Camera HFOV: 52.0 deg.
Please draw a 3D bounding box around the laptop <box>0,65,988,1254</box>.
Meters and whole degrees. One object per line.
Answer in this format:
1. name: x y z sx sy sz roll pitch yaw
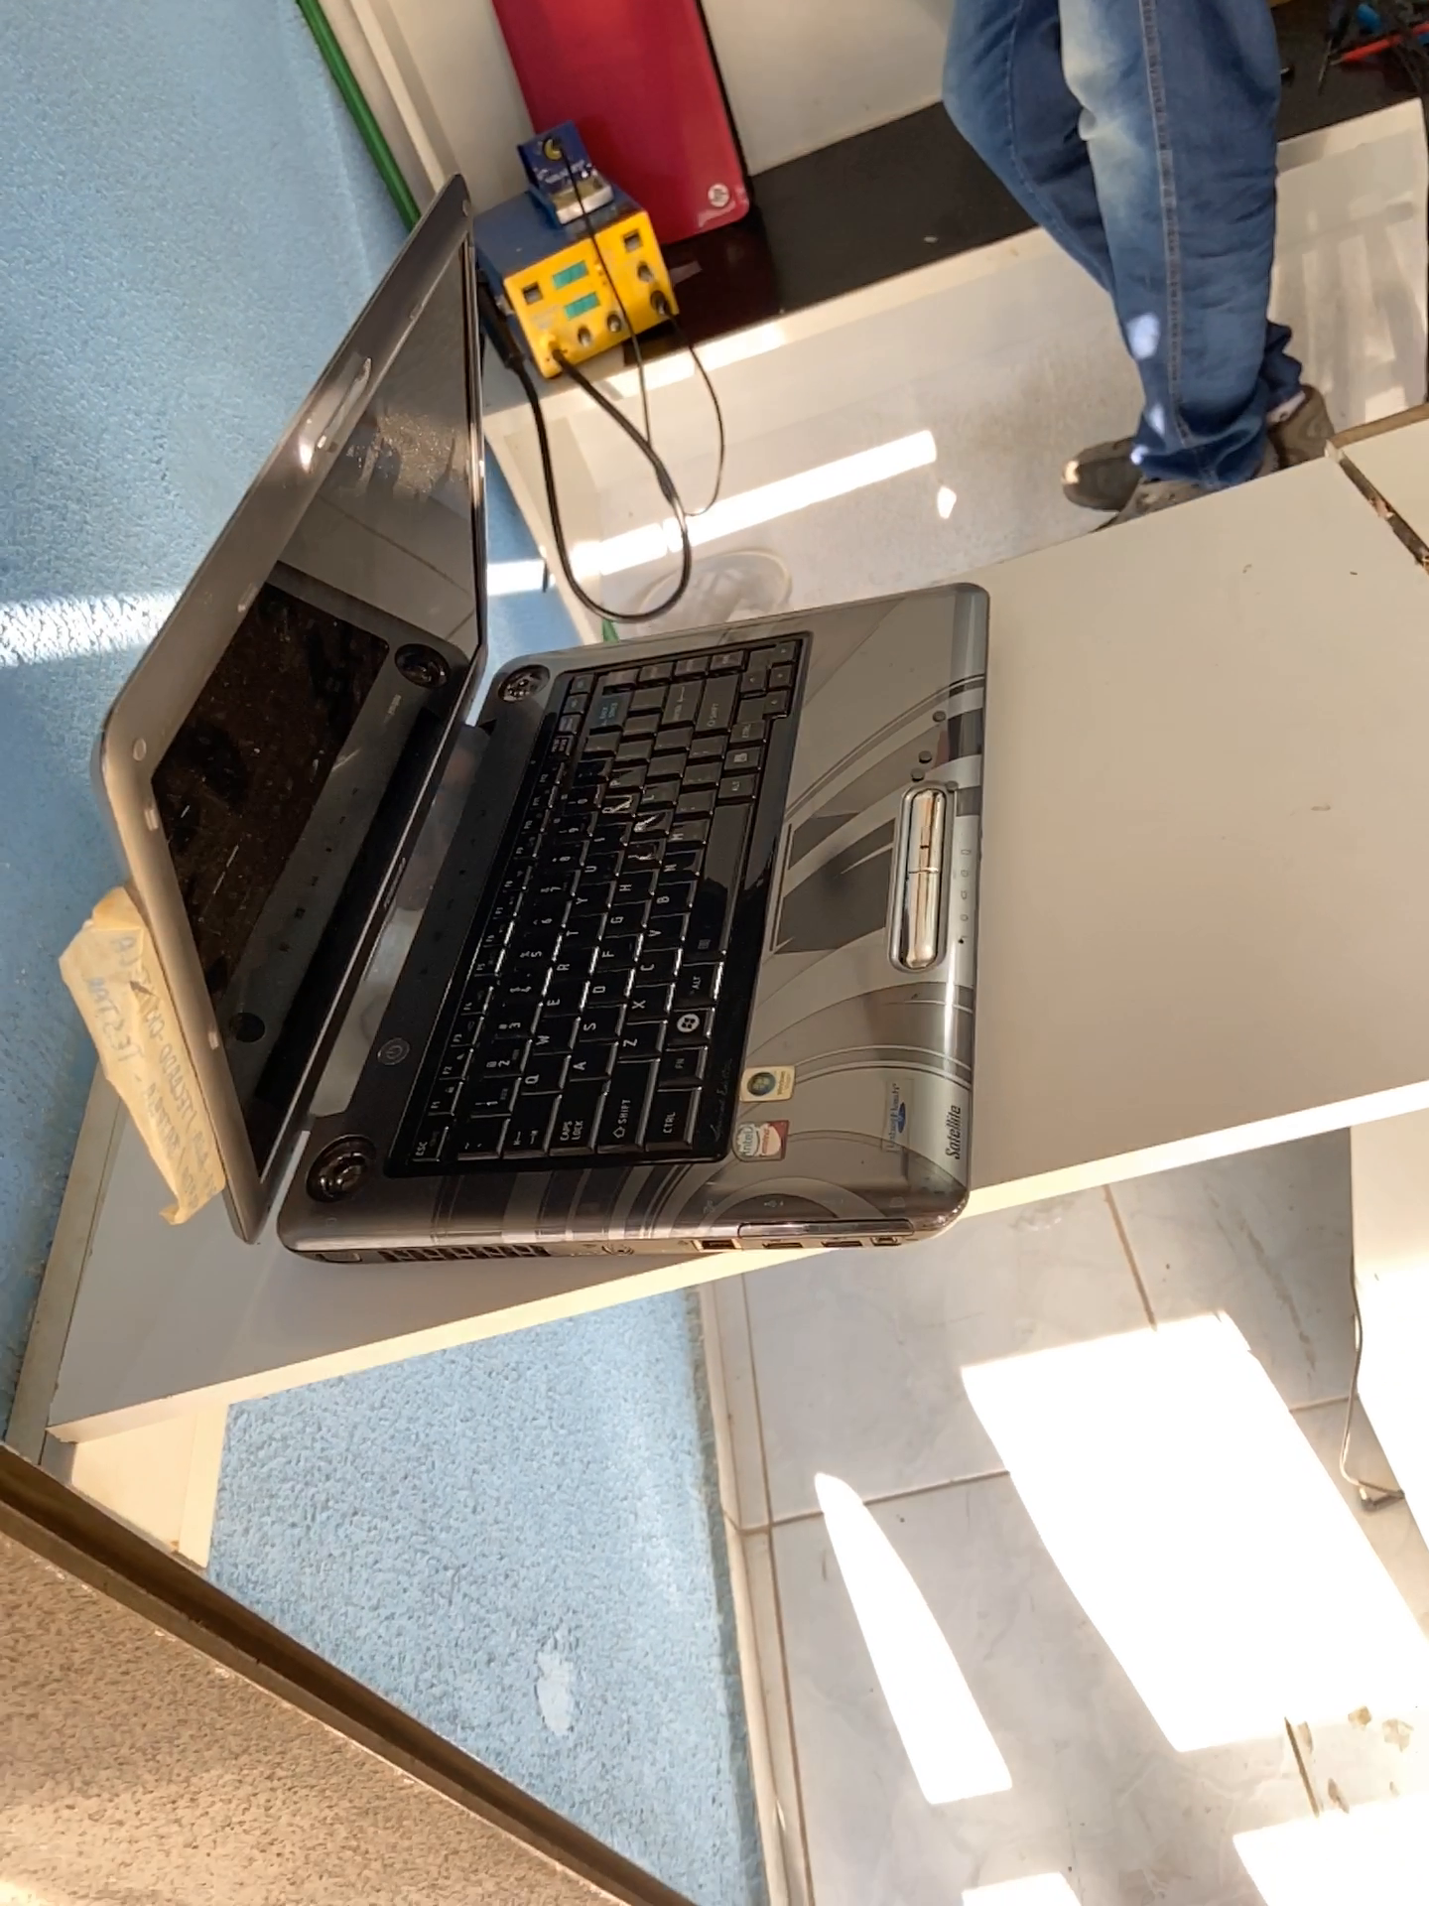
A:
1. laptop: -0.053 -0.109 0.555 0.258 0.235 0.360 -6 47 19
